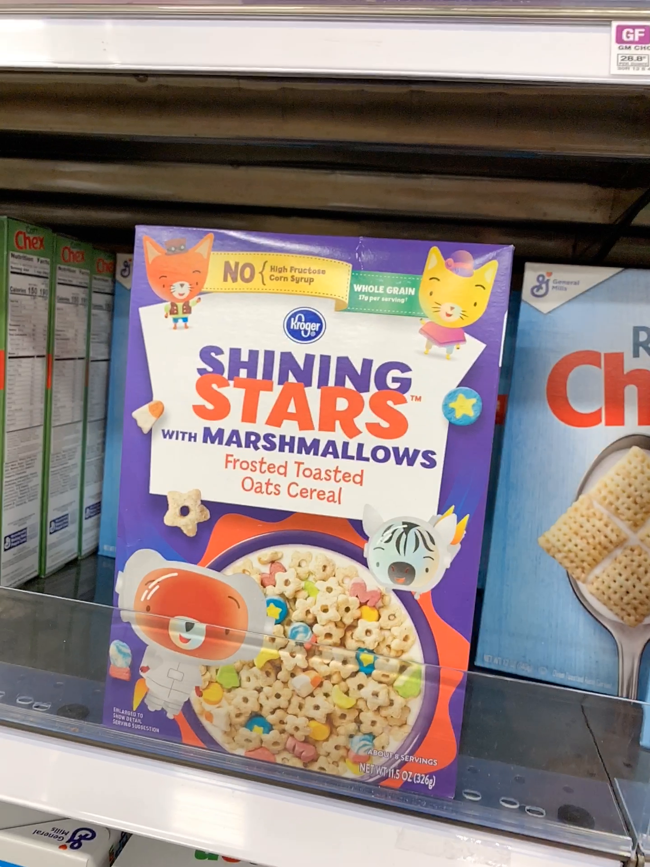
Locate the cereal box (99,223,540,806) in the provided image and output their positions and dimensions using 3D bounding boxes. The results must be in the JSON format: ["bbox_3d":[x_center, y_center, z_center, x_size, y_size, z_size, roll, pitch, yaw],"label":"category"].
[{"bbox_3d":[-0.007,0.035,0.359,0.200,0.270,0.050,5,4,9],"label":"cereal box"}]
